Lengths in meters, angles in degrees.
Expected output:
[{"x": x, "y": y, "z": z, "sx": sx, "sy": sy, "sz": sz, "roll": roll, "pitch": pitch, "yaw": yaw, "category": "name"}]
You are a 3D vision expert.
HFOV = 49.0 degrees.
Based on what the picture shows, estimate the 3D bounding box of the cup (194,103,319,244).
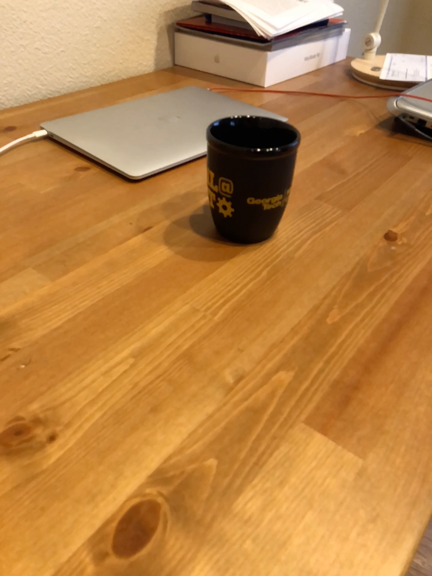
[{"x": 0.031, "y": -0.117, "z": 0.469, "sx": 0.090, "sy": 0.090, "sz": 0.120, "roll": -5, "pitch": 39, "yaw": -9, "category": "cup"}]
